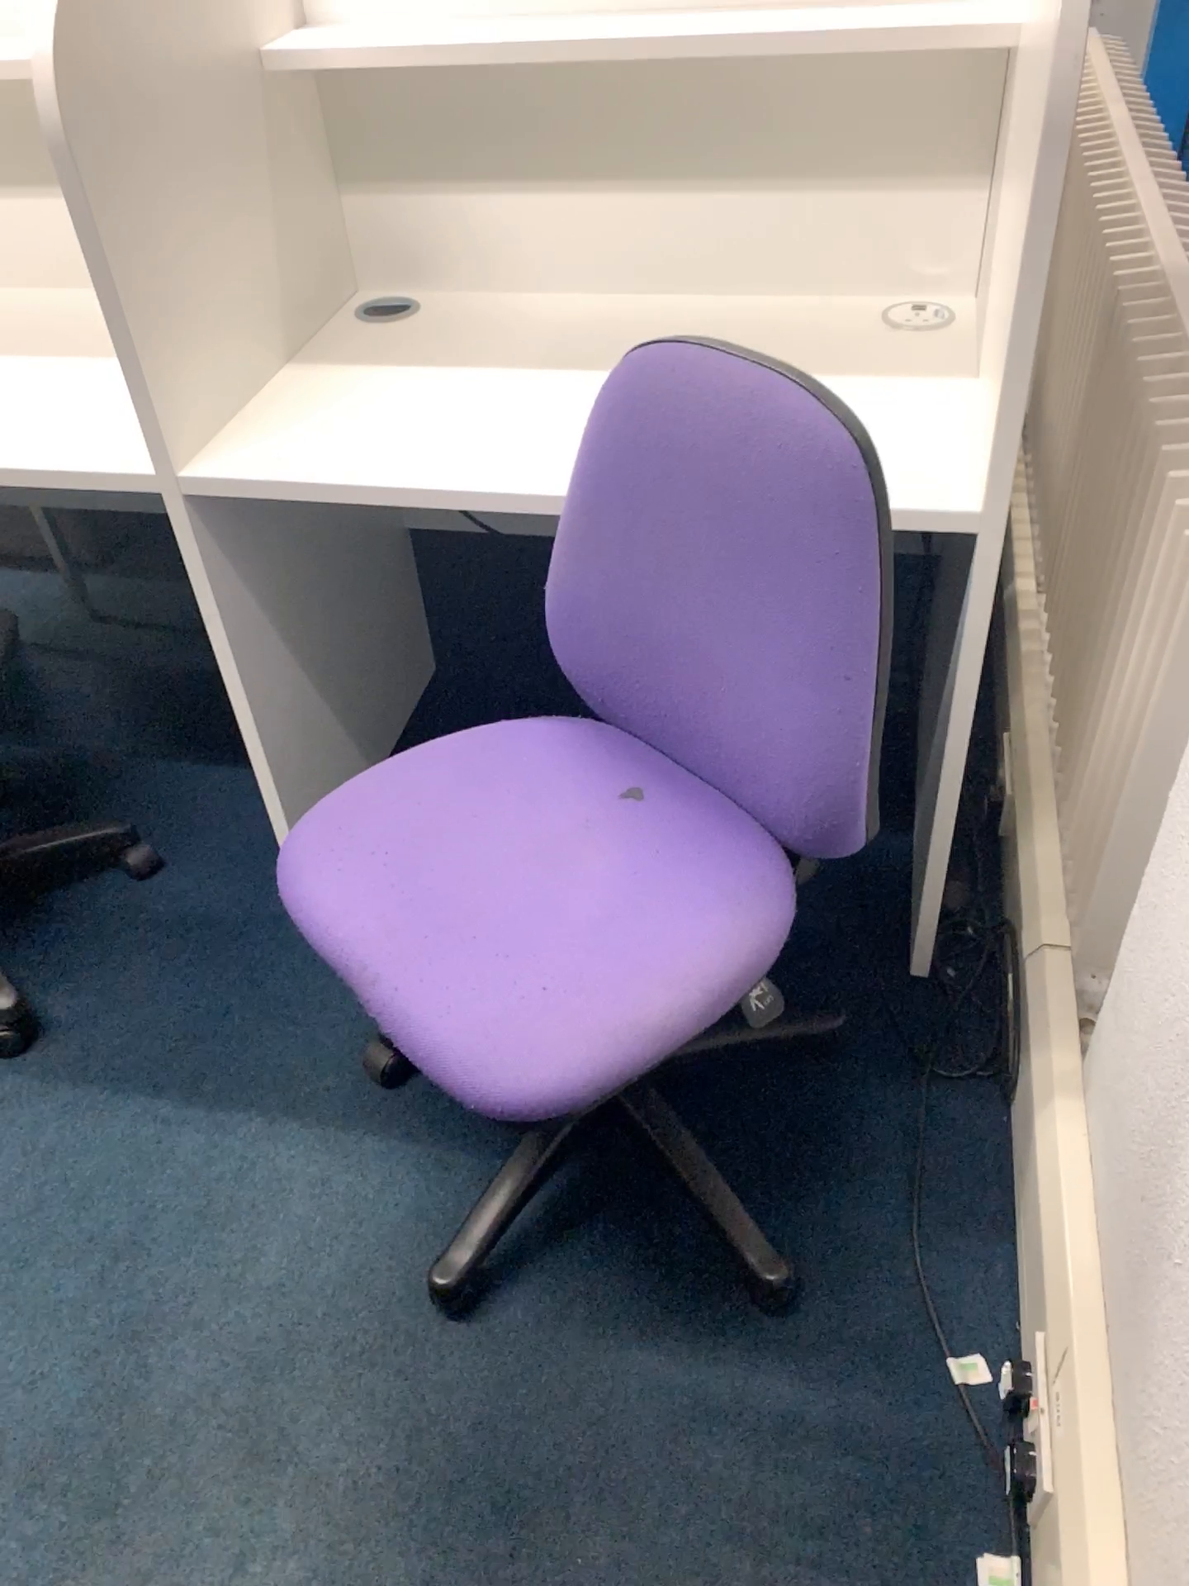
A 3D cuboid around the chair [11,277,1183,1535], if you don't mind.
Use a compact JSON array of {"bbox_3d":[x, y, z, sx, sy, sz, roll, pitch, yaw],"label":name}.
[{"bbox_3d":[-0.005,0.075,1.248,0.652,0.862,0.695,-29,46,-26],"label":"chair"}]
